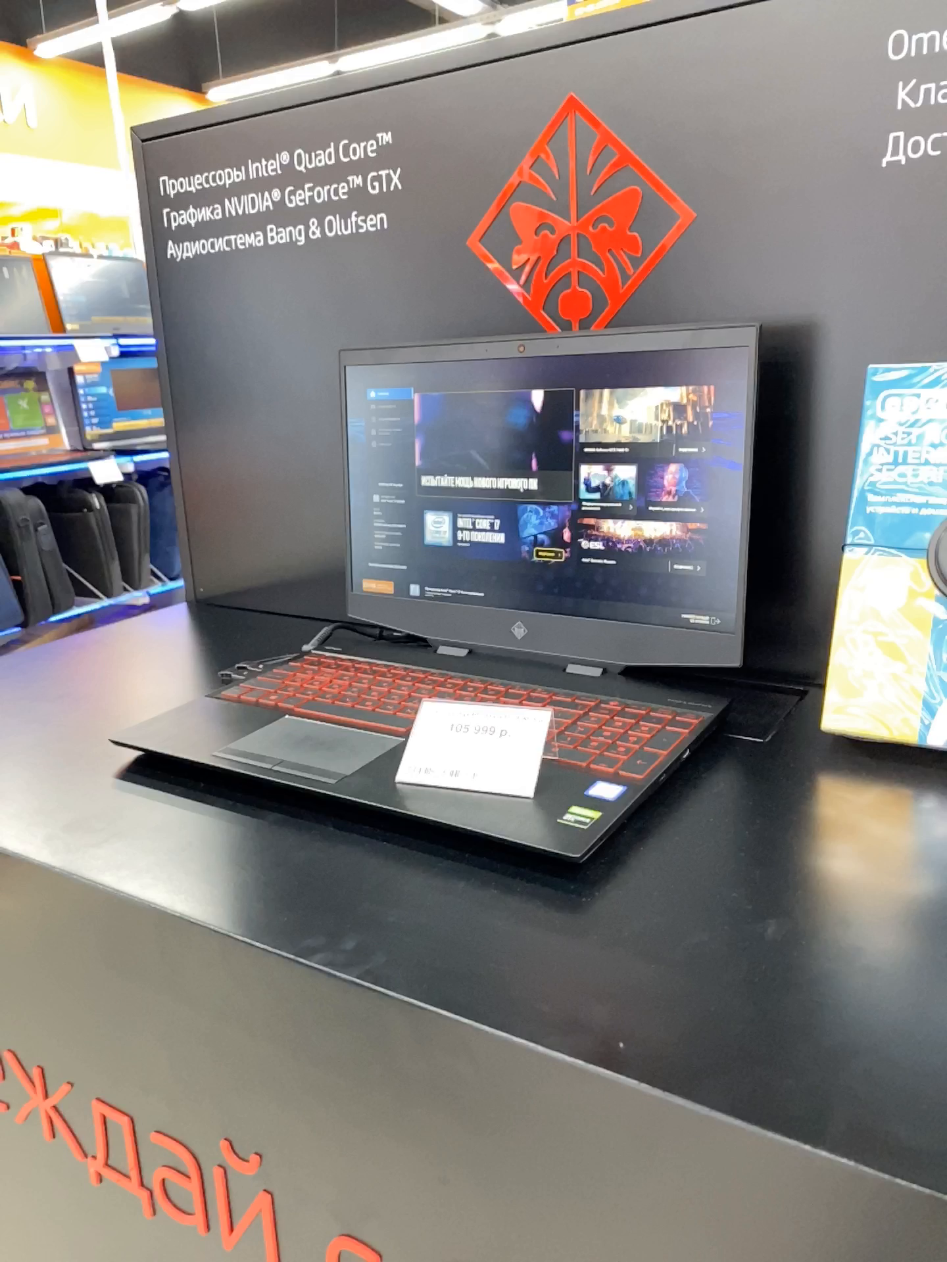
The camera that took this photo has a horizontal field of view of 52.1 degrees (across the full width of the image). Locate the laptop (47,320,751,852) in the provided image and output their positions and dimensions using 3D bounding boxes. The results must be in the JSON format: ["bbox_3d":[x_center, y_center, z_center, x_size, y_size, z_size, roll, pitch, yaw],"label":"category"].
[{"bbox_3d":[-0.033,-0.071,0.664,0.359,0.247,0.302,6,18,31],"label":"laptop"}]
